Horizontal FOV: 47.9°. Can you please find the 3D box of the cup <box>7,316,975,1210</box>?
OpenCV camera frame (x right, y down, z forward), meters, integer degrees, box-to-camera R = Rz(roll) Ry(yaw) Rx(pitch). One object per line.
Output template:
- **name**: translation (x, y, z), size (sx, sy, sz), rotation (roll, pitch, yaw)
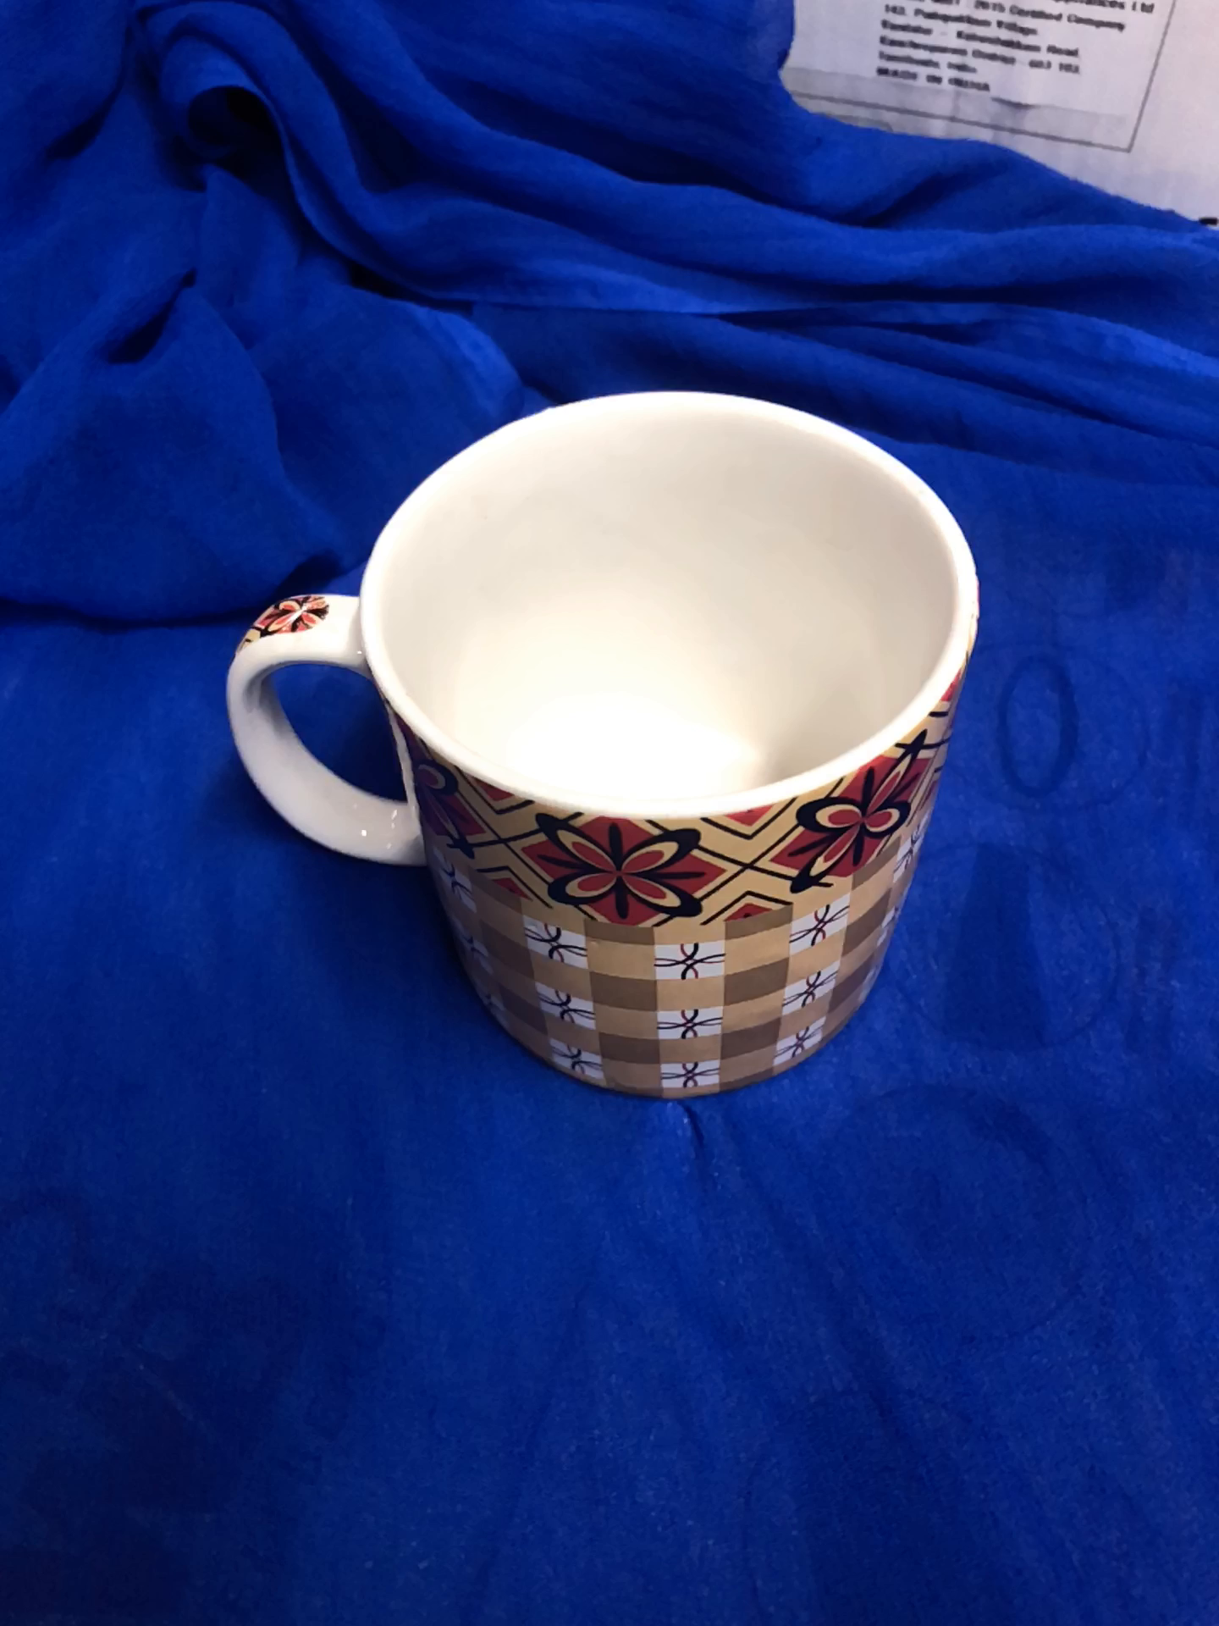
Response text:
- **cup**: translation (-0.010, -0.002, 0.201), size (0.100, 0.099, 0.070), rotation (9, 54, 5)
